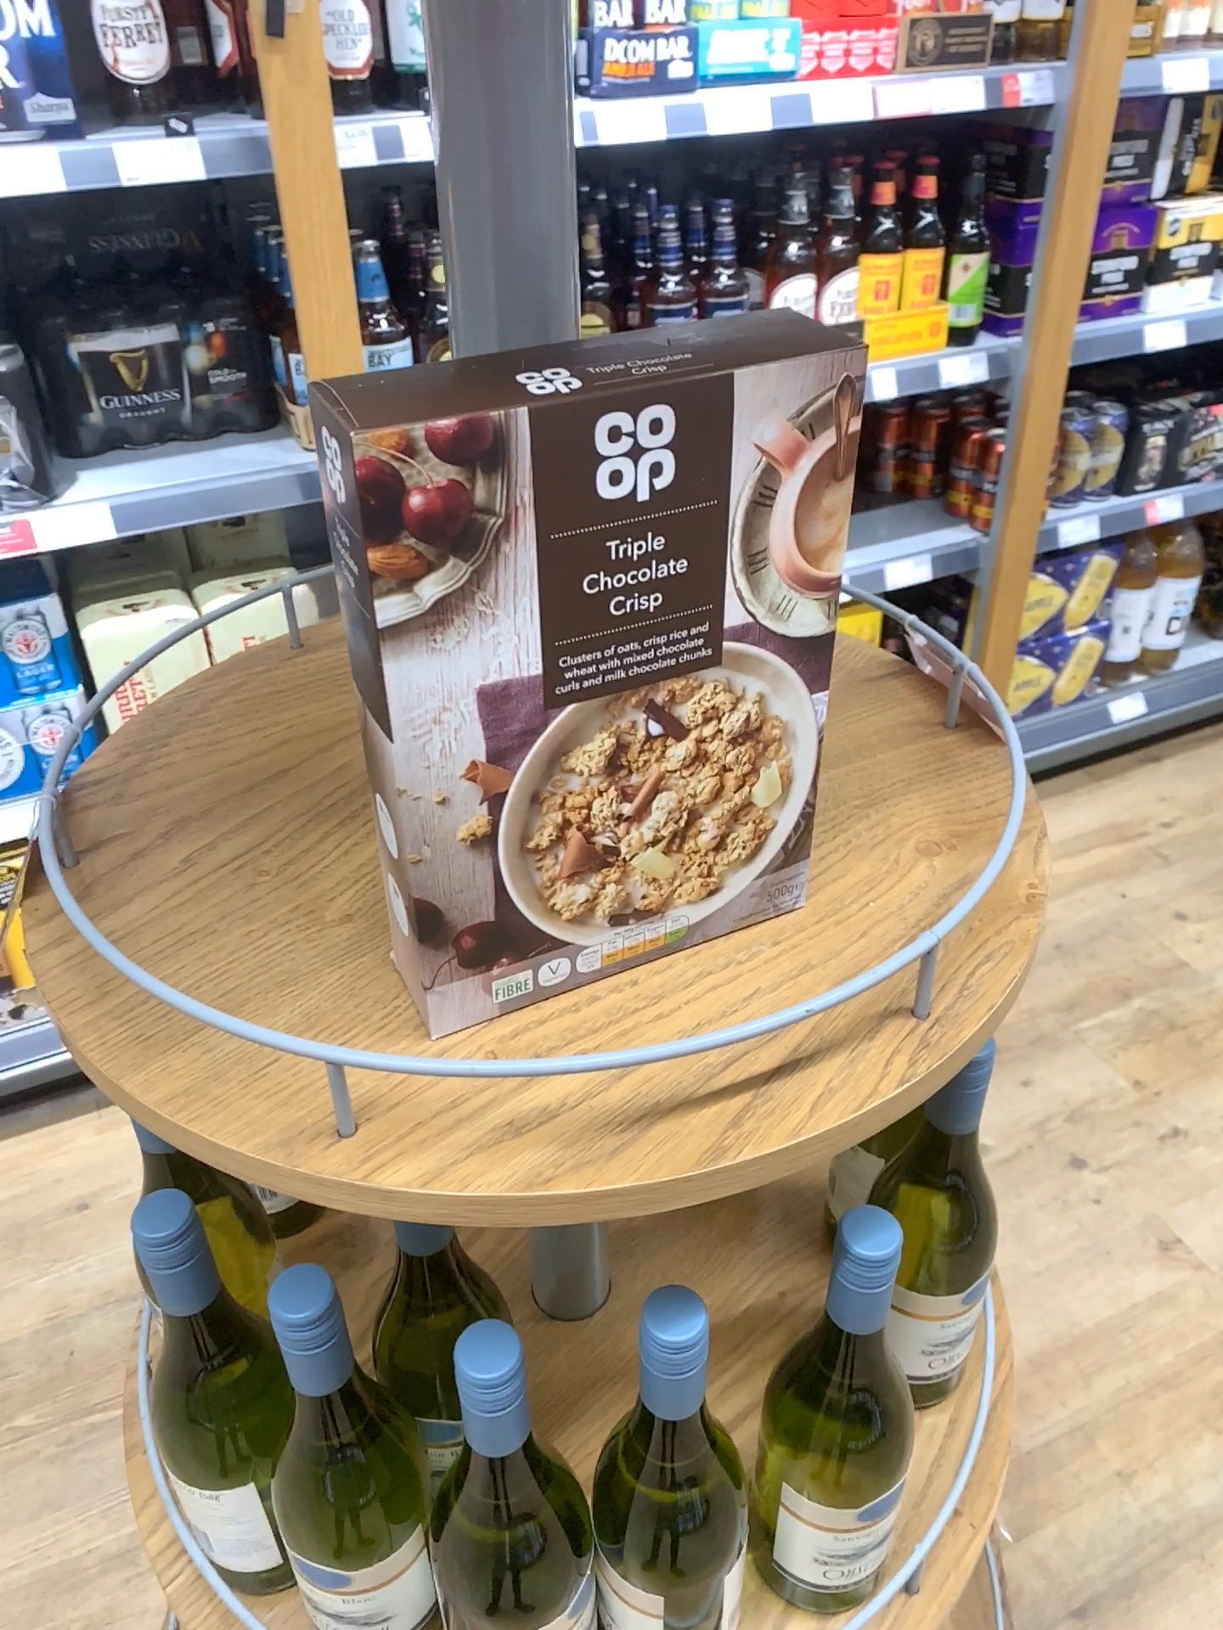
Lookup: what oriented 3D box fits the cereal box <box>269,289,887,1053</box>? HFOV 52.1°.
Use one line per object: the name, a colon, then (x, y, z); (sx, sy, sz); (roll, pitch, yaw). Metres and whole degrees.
cereal box: (-0.006, -0.047, 0.464); (0.190, 0.247, 0.050); (-17, 39, -21)
